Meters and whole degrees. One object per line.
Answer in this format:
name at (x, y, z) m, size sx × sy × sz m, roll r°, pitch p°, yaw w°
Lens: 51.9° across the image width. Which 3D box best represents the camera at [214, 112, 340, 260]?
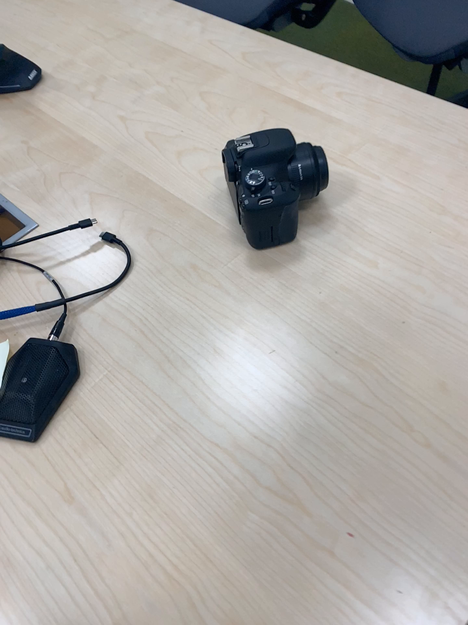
camera at (0.051, -0.159, 0.607) m, size 0.118 × 0.100 × 0.131 m, roll -13°, pitch 55°, yaw -2°
